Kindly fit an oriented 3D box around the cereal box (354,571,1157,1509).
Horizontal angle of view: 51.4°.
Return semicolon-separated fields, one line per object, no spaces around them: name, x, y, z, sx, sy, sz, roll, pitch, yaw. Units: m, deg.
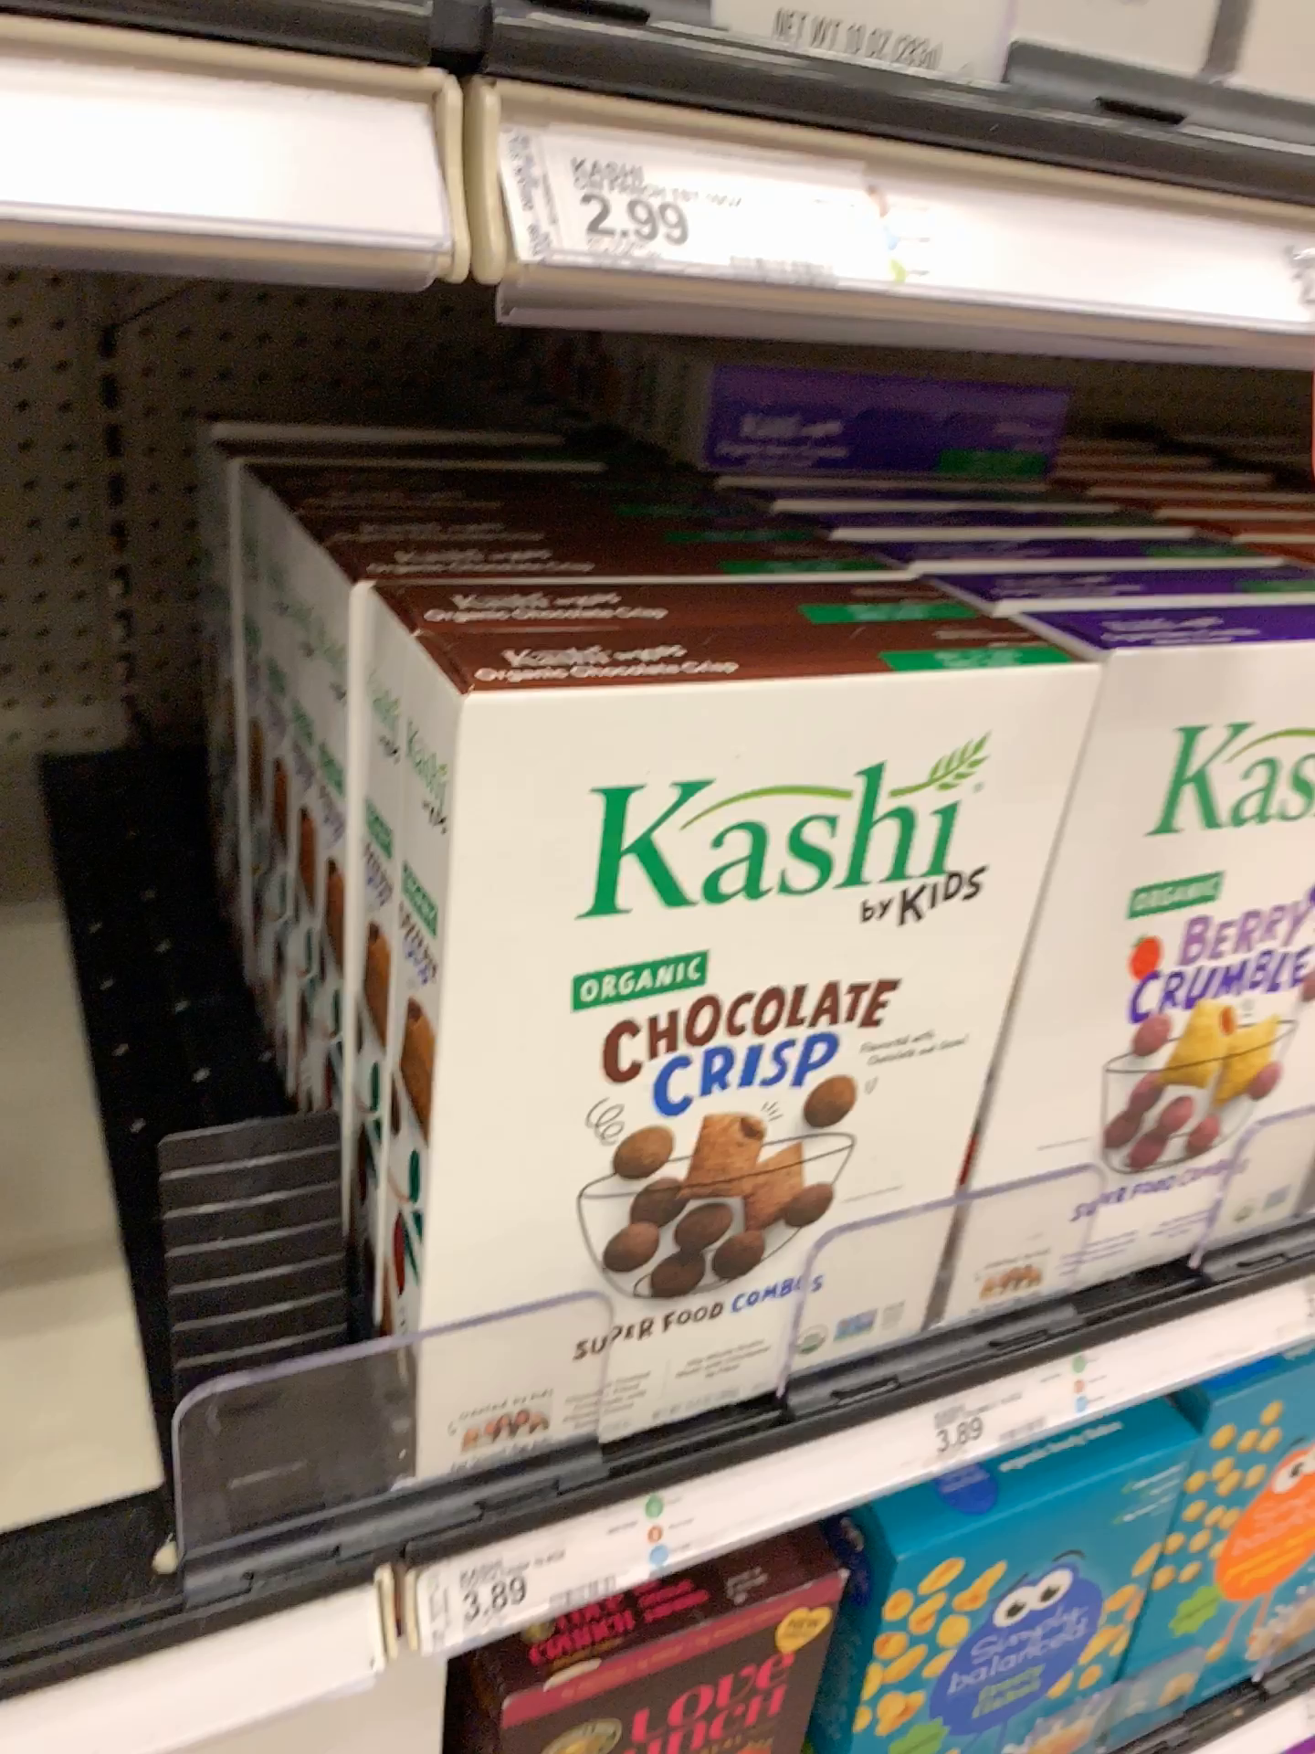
cereal box;0.018;0.046;0.407;0.200;0.259;0.060;-7;30;-25
